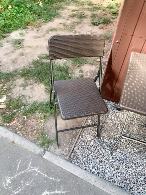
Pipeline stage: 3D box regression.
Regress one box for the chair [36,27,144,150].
[{"bbox_3d":[0.041,-0.042,1.080,0.470,0.687,0.472,-9,49,-10],"label":"chair"}]
